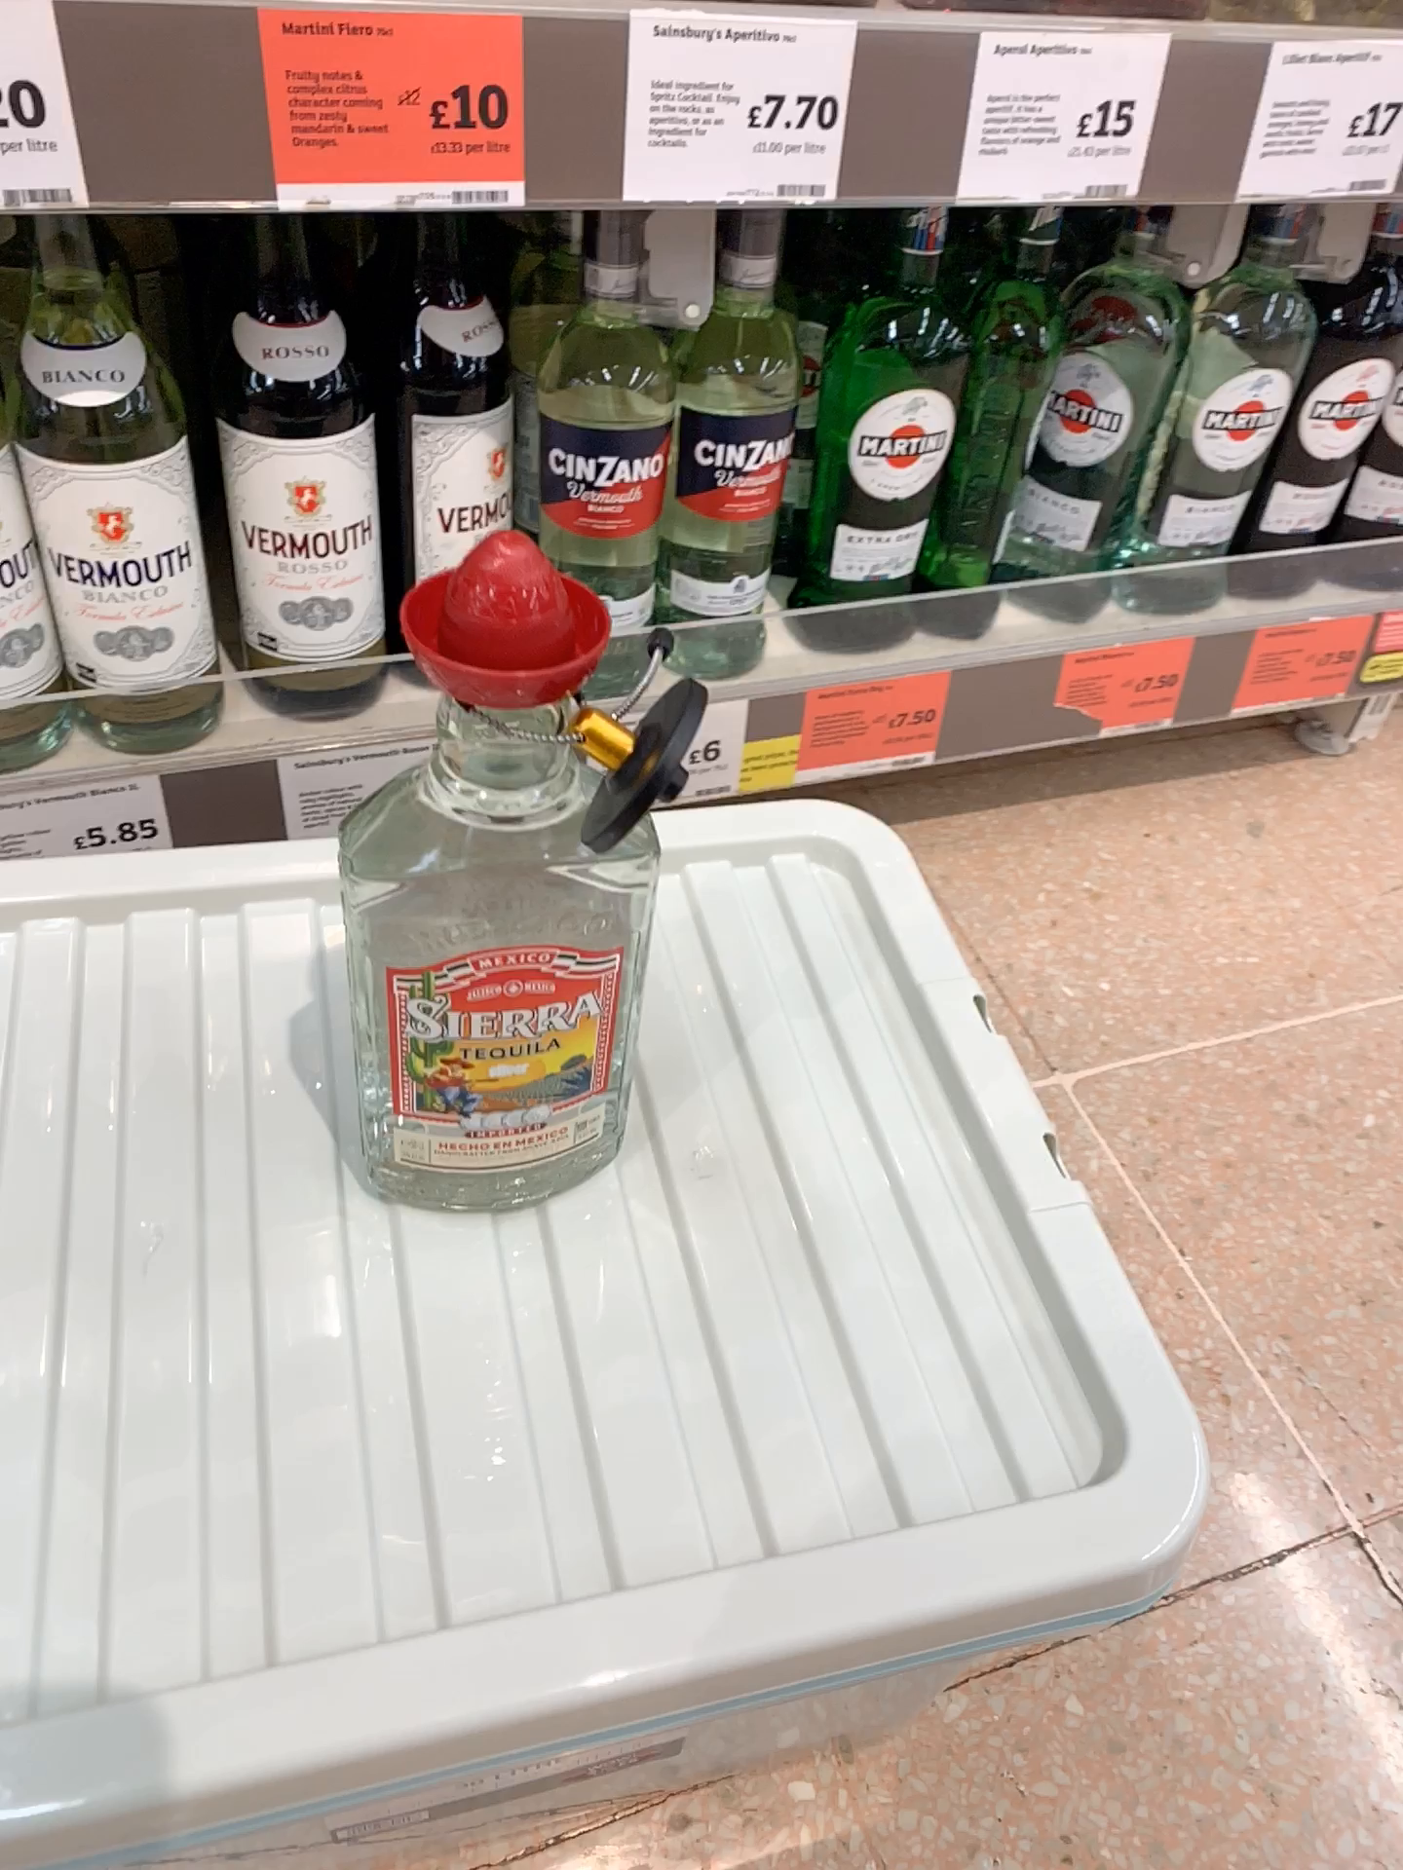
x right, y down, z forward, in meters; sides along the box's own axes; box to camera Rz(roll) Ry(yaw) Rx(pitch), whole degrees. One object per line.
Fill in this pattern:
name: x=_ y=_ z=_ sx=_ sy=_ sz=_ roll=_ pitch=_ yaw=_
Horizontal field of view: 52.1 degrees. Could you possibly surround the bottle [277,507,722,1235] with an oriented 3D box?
bottle: x=-0.065 y=-0.006 z=0.438 sx=0.103 sy=0.240 sz=0.058 roll=-4 pitch=46 yaw=-13
